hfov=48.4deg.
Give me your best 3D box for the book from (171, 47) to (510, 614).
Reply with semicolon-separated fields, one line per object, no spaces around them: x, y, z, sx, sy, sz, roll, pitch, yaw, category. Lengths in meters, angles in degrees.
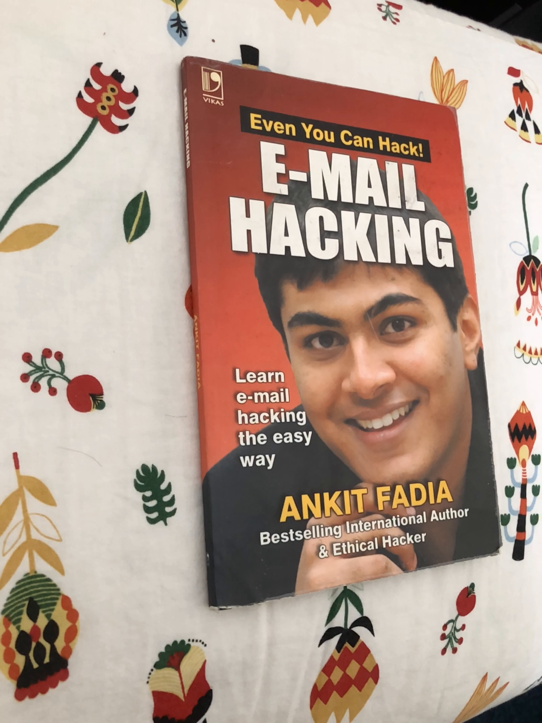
0.032;-0.015;0.252;0.138;0.020;0.204;-1;85;-24;book
